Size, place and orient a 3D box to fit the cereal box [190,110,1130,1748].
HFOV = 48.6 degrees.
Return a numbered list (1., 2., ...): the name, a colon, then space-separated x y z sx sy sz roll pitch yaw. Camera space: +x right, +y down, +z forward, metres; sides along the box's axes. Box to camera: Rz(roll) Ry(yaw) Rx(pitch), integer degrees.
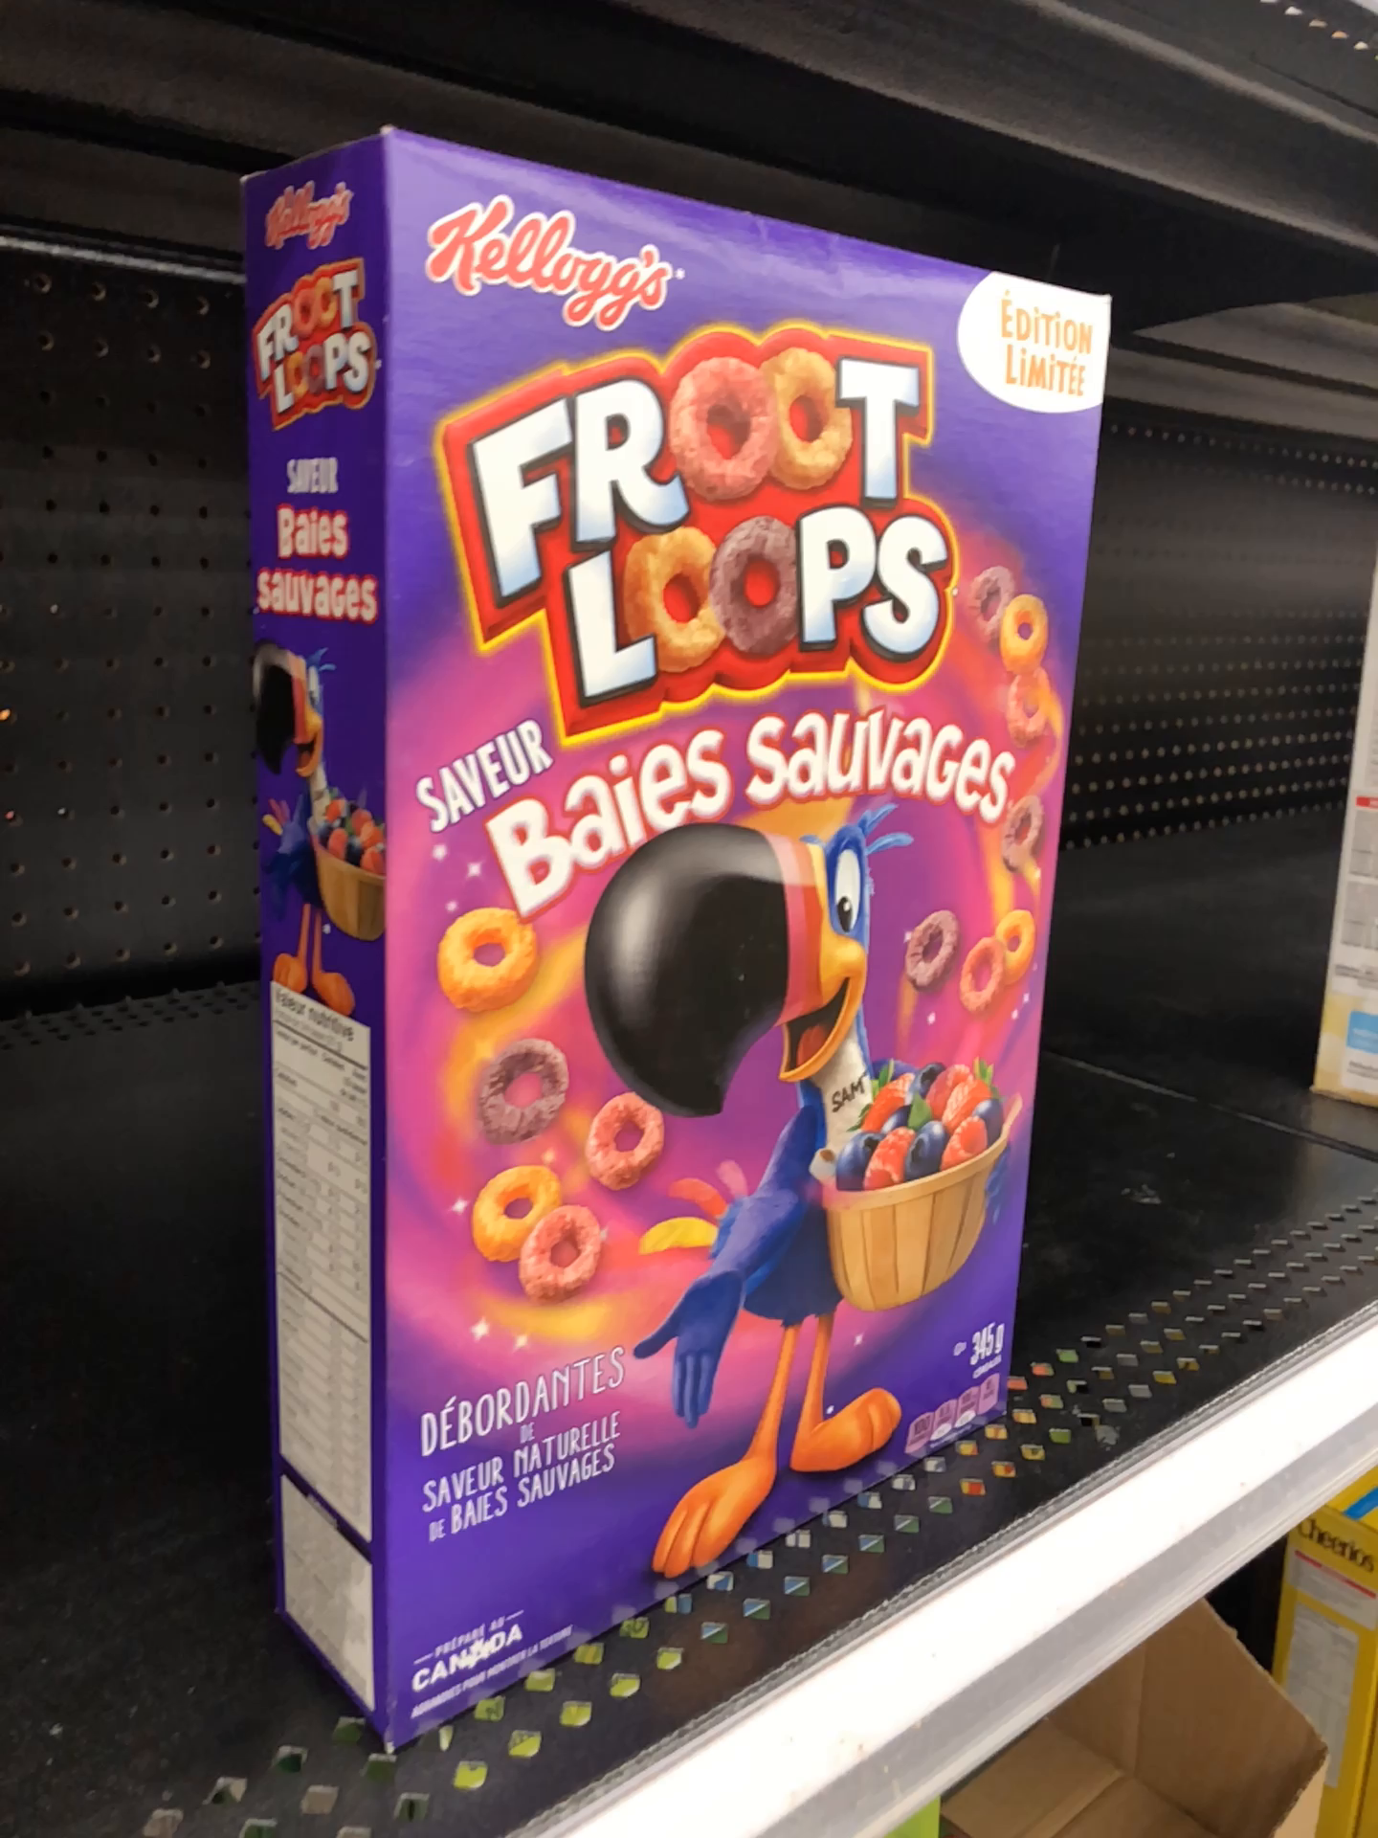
1. cereal box: 0.003 0.000 0.347 0.210 0.289 0.050 -9 17 -39
